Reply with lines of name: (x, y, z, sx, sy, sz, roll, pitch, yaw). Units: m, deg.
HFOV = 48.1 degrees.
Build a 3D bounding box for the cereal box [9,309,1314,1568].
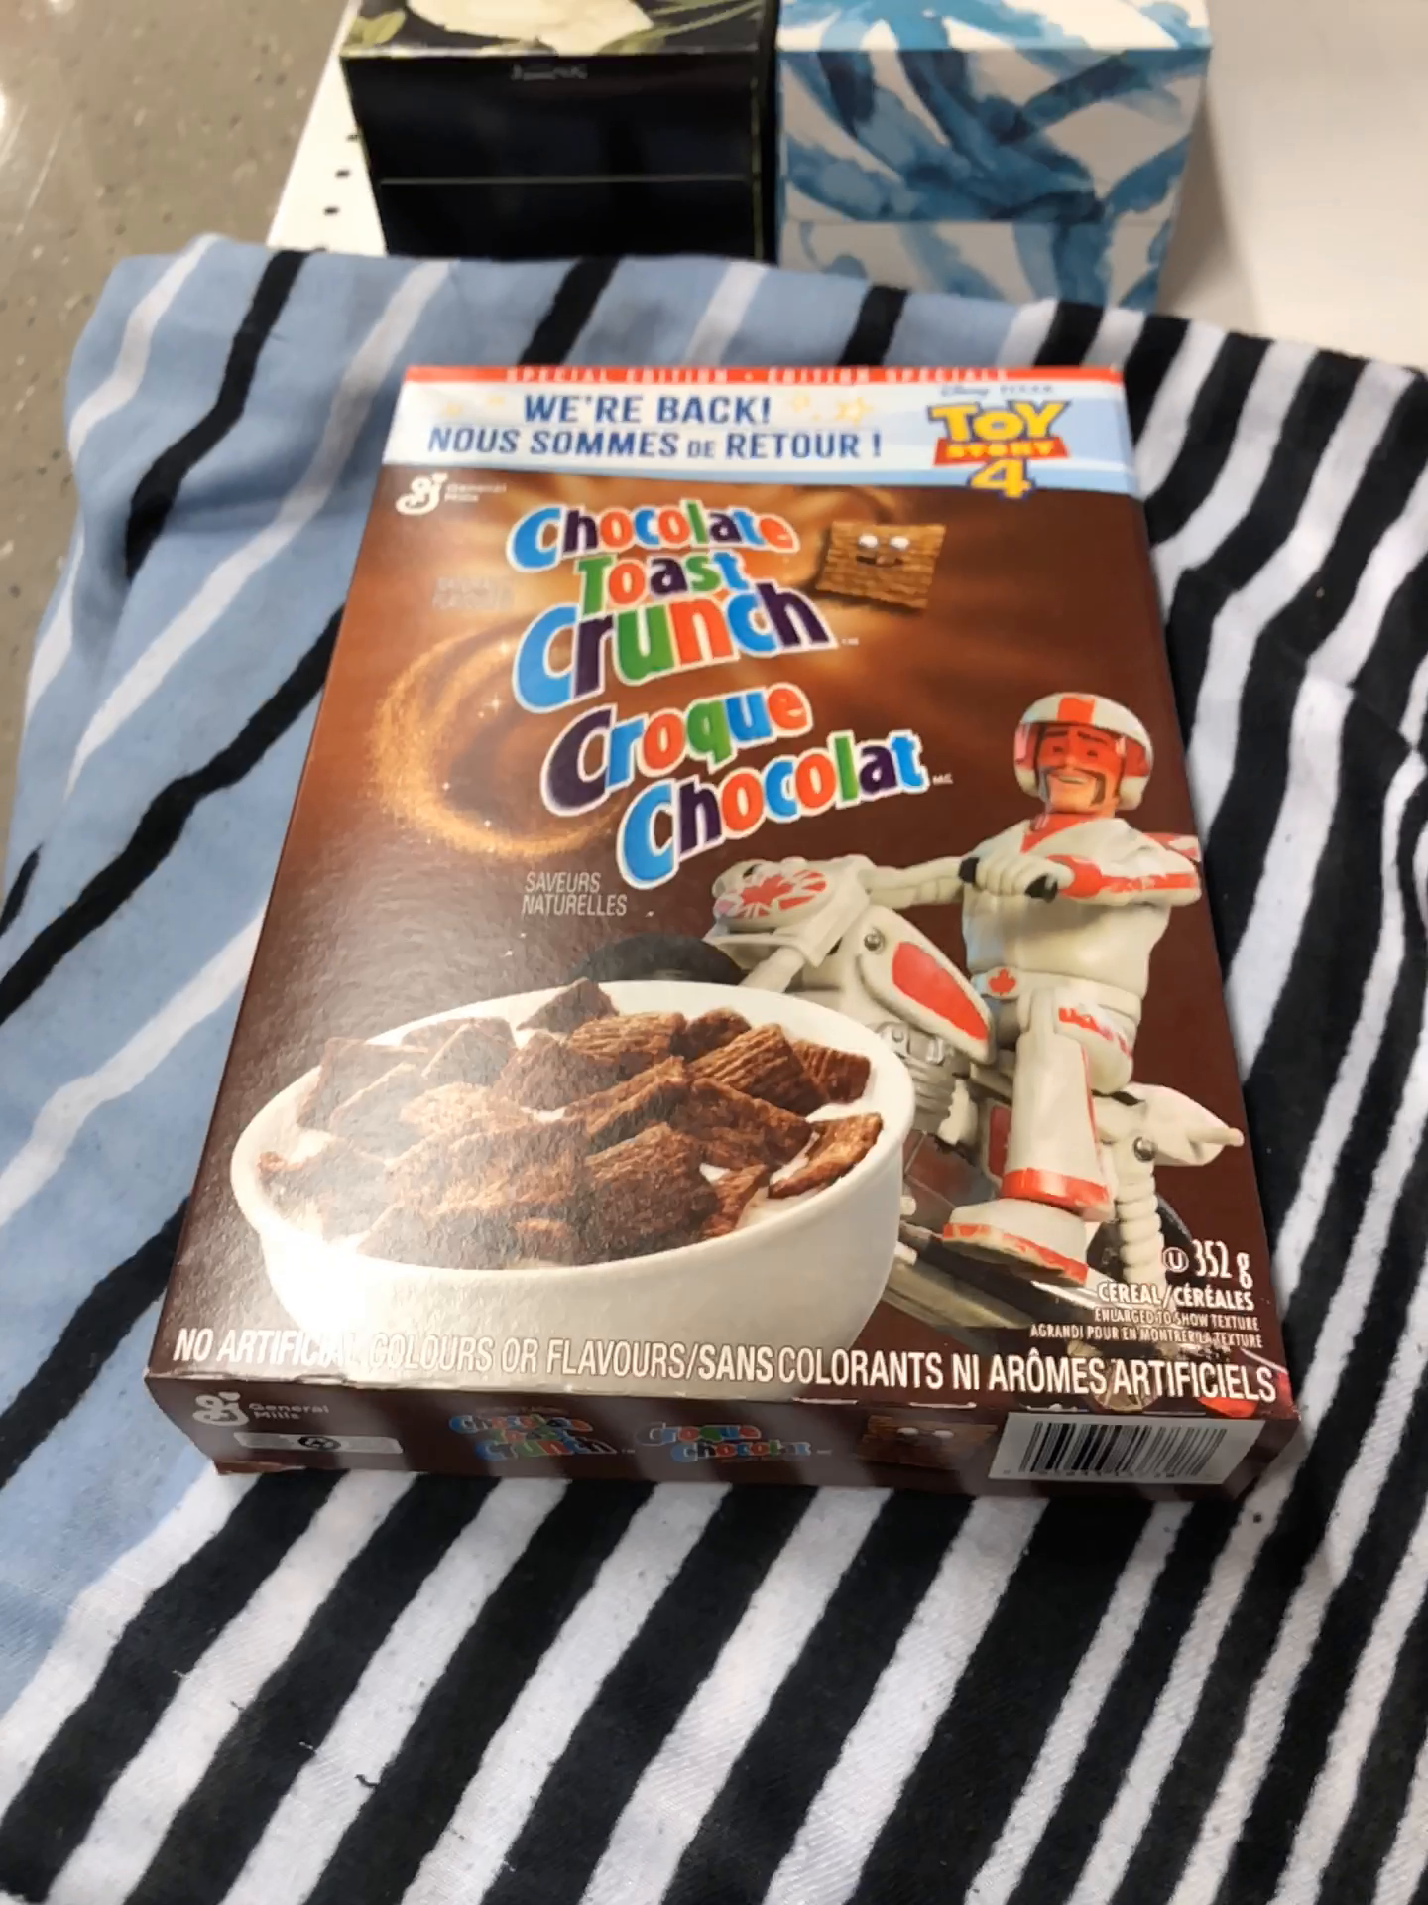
cereal box: (-0.005, -0.027, 0.364, 0.210, 0.060, 0.300, 1, 57, 1)
